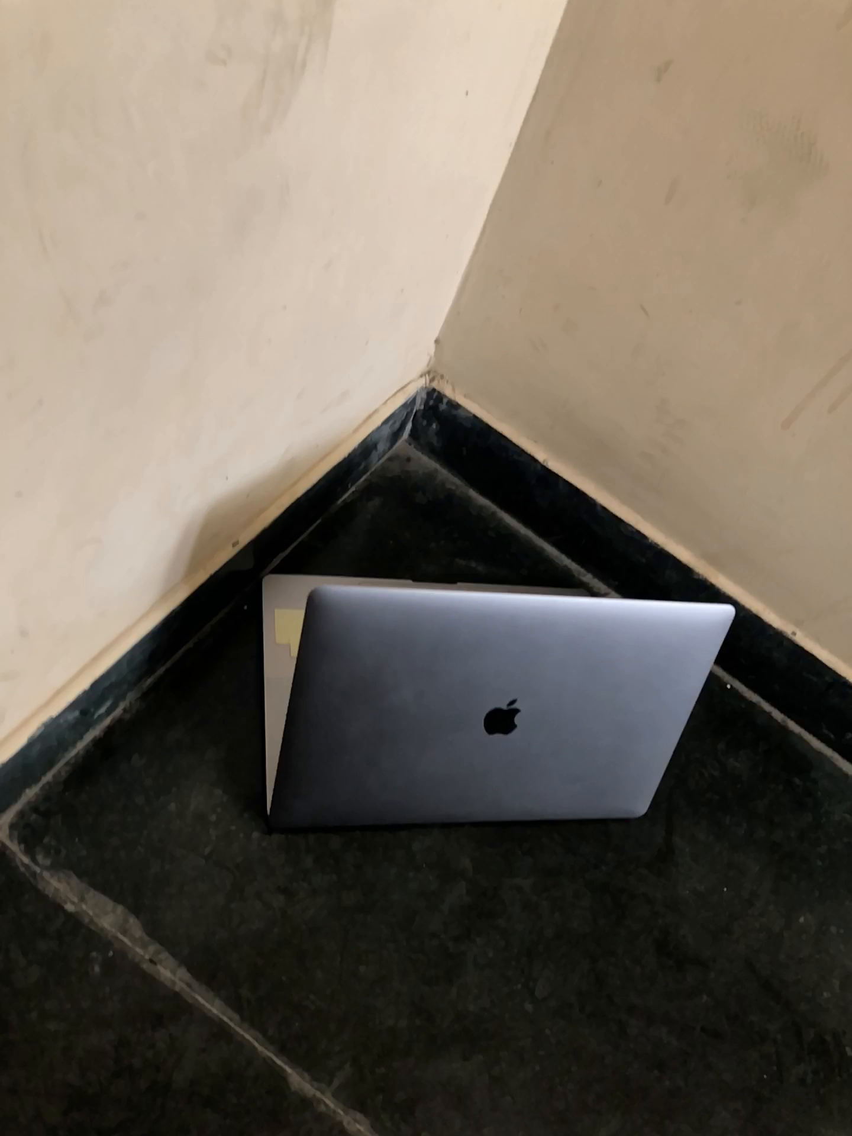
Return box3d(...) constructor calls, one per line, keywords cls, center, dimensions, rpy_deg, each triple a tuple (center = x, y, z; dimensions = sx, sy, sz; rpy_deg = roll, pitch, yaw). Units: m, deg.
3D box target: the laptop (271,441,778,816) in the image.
box3d(cls="laptop", center=(0.055, 0.061, 0.766), dimensions=(0.329, 0.198, 0.221), rpy_deg=(3, 57, -15))
